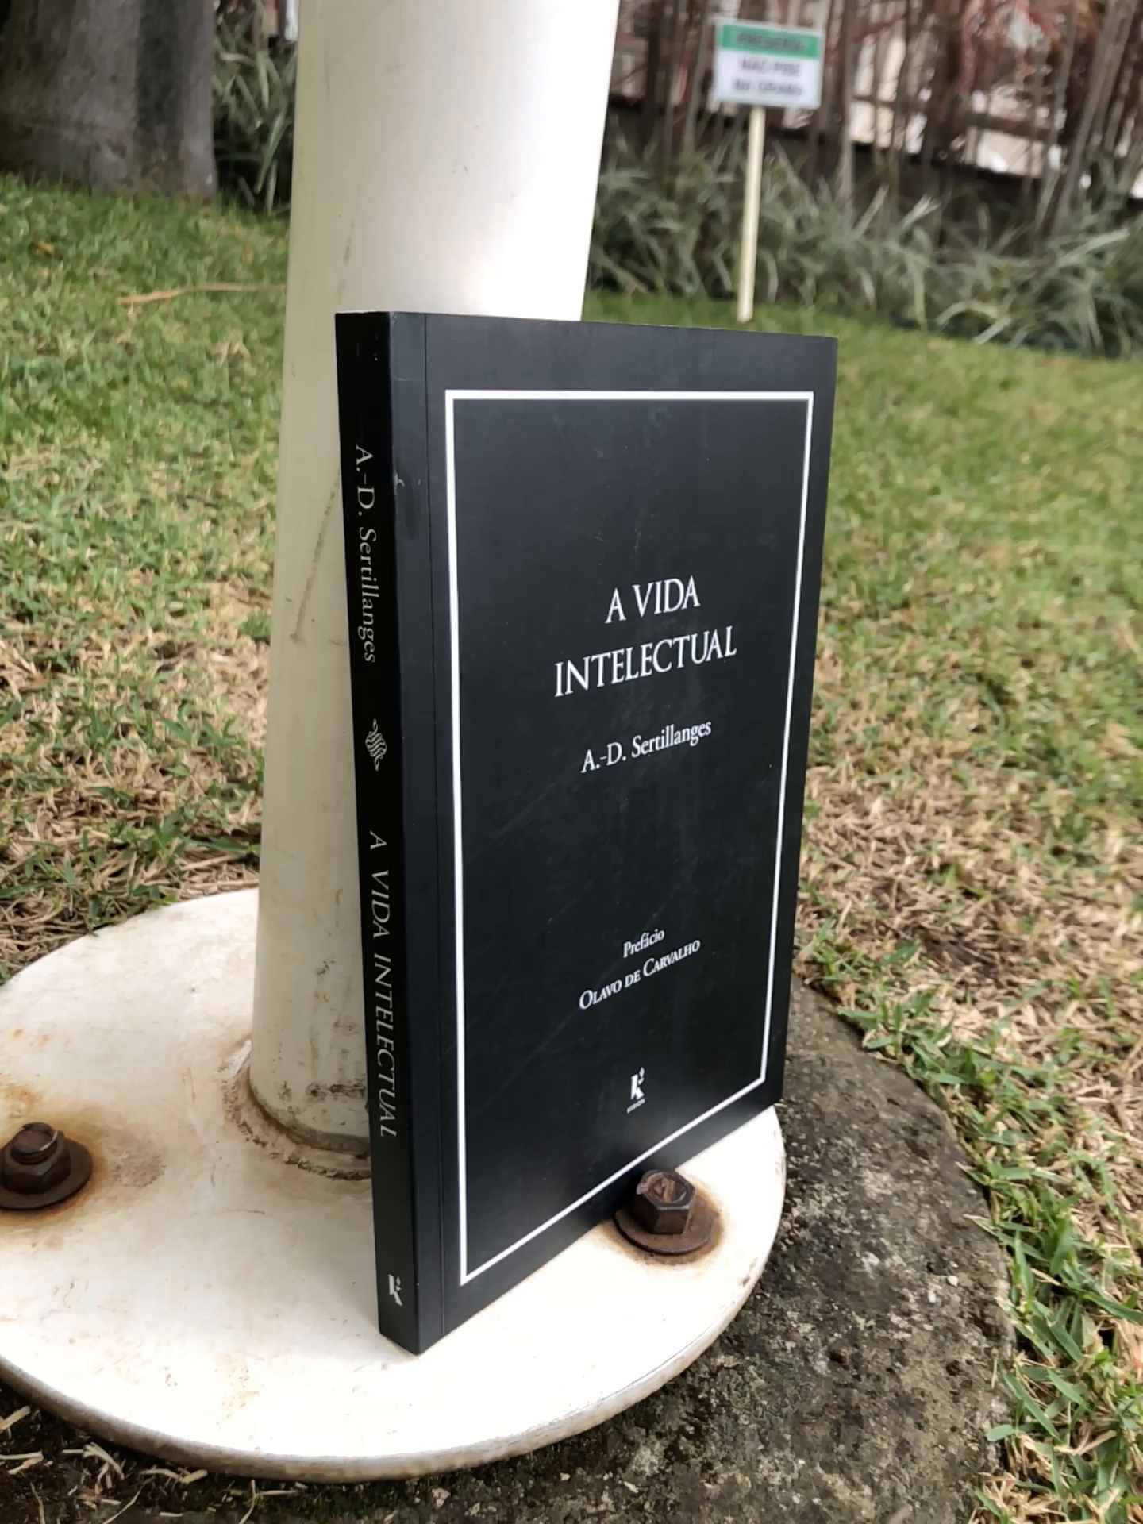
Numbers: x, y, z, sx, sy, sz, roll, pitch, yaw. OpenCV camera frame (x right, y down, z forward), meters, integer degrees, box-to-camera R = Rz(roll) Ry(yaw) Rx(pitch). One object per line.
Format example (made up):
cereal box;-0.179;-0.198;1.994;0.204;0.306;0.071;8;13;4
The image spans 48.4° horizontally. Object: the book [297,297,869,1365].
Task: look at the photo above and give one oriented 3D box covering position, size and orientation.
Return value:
book;0.012;0.006;0.276;0.025;0.193;0.141;14;21;41
